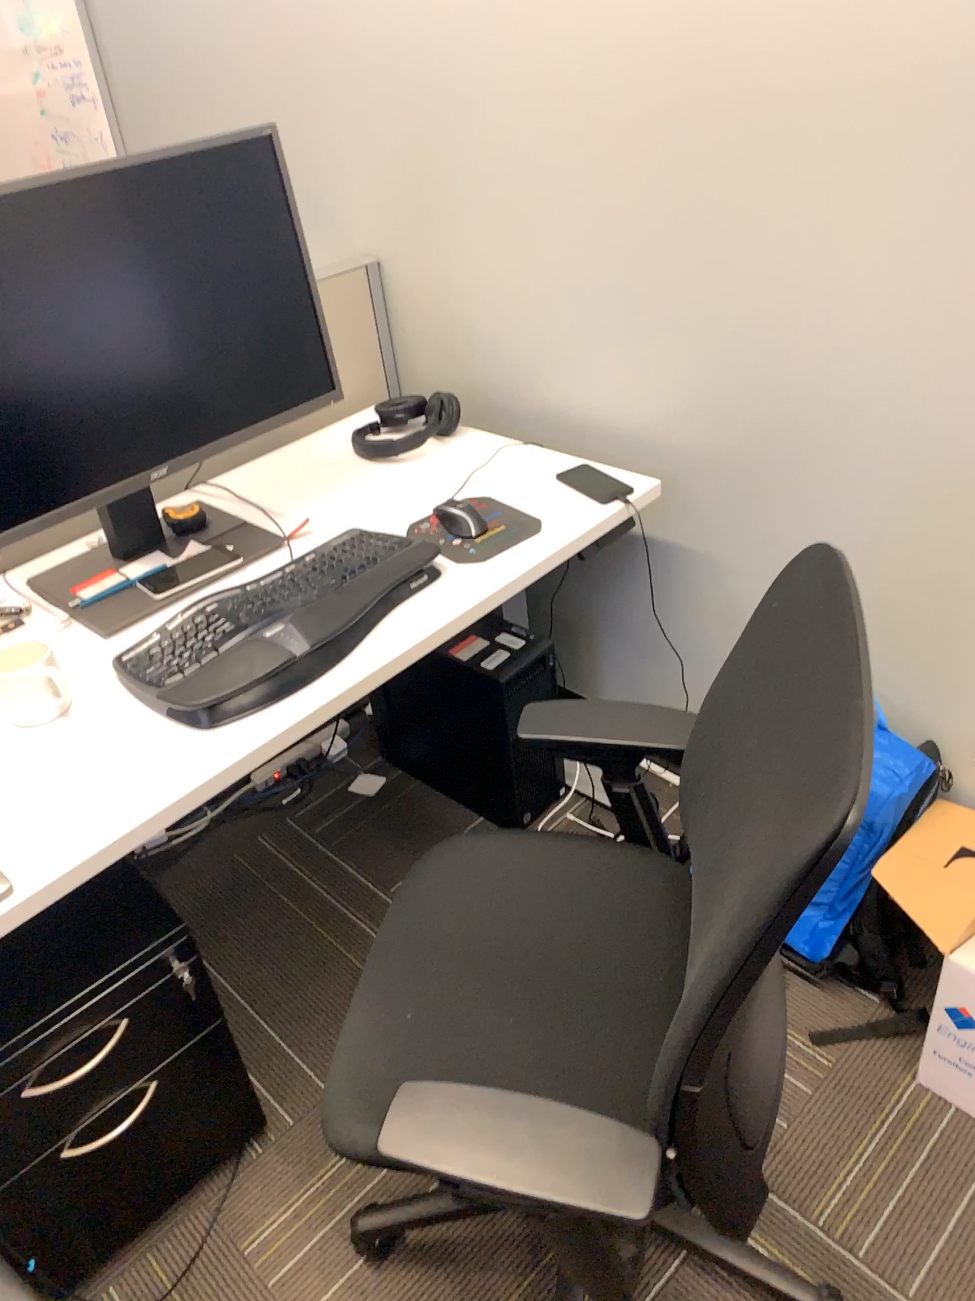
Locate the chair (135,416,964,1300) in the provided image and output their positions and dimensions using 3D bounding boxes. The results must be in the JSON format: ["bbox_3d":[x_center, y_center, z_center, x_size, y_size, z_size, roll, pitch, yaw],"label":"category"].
[{"bbox_3d":[0.131,0.307,1.329,0.610,0.945,0.834,1,35,11],"label":"chair"}]
